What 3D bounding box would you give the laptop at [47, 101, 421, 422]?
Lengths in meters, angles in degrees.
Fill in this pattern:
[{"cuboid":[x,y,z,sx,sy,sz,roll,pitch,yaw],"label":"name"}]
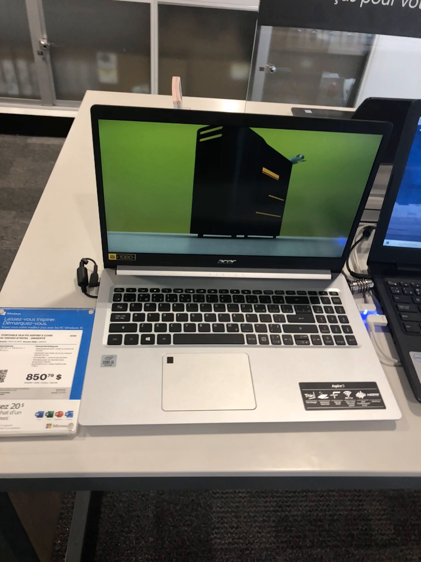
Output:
[{"cuboid":[0.036,-0.027,0.527,0.349,0.229,0.268,1,43,-5],"label":"laptop"}]
